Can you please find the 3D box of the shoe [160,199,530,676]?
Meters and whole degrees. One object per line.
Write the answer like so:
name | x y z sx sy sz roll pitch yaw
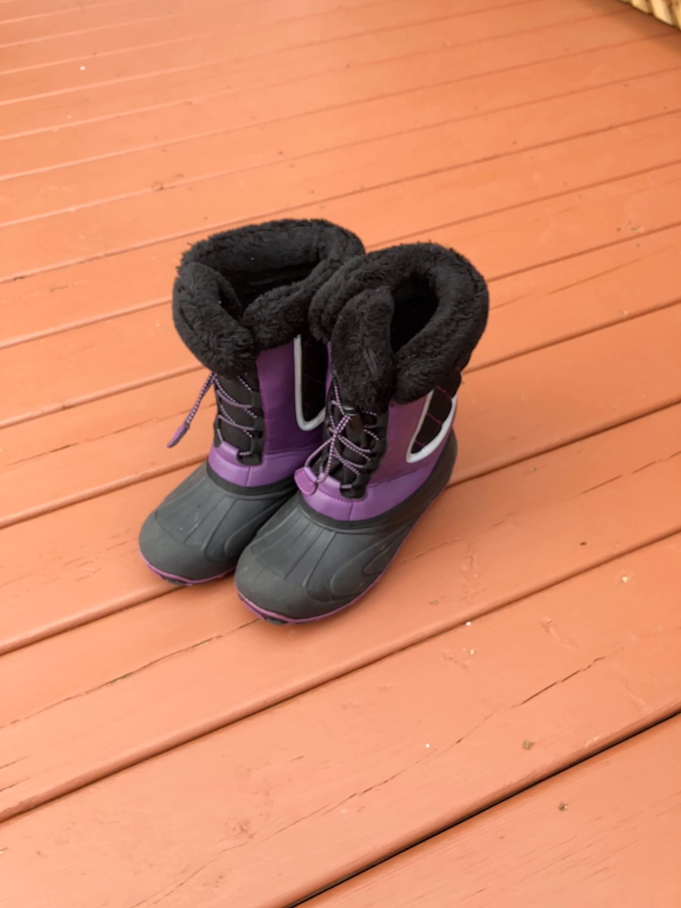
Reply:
shoe | 0.015 -0.008 0.608 0.120 0.279 0.240 31 56 26

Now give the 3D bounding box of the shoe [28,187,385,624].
shoe | -0.089 -0.037 0.661 0.120 0.279 0.240 35 58 28
